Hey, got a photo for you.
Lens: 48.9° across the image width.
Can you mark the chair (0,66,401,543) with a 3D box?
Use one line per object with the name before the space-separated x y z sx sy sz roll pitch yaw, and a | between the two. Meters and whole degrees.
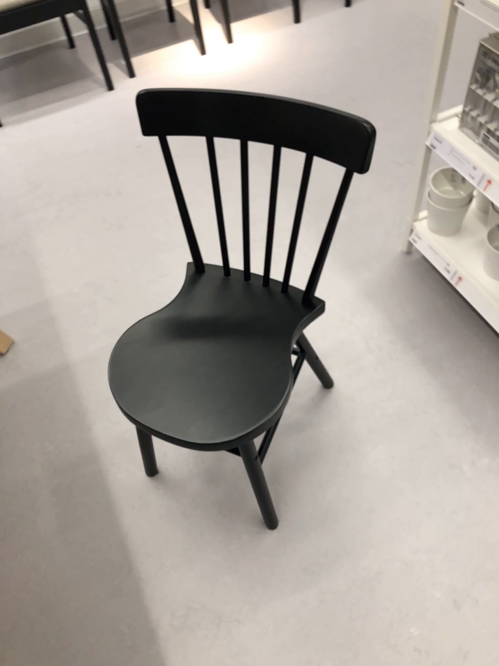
chair | -0.049 -0.024 1.110 0.481 0.716 0.522 18 58 19
